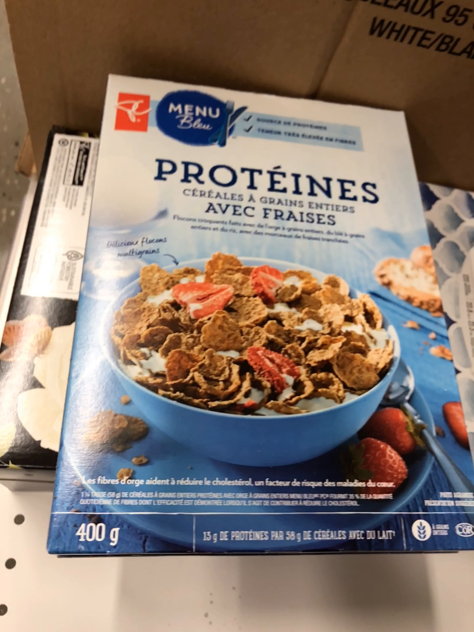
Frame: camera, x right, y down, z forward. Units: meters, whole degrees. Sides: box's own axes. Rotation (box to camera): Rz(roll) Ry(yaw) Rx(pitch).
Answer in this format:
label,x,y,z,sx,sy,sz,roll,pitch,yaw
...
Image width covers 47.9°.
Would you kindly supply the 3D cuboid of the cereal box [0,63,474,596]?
label,x,y,z,sx,sy,sz,roll,pitch,yaw
cereal box,0.004,-0.006,0.265,0.190,0.050,0.250,3,64,-8
